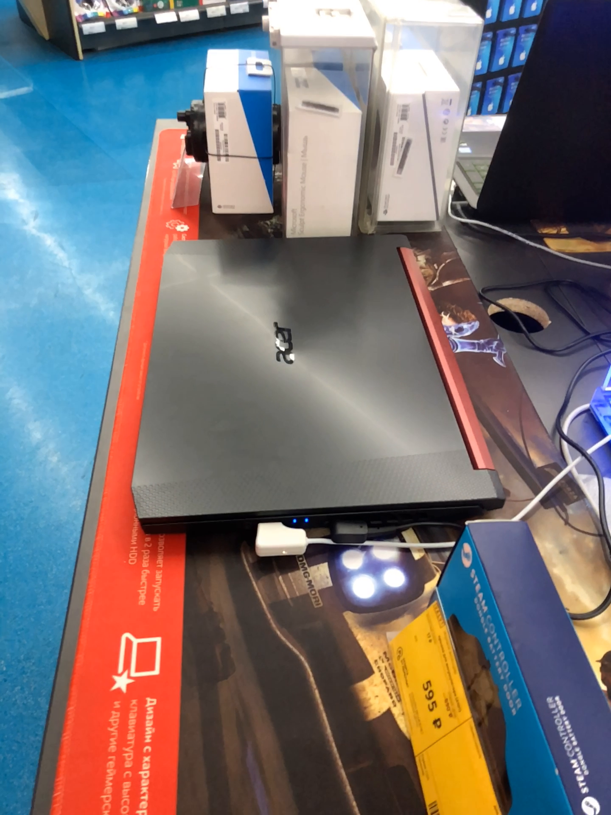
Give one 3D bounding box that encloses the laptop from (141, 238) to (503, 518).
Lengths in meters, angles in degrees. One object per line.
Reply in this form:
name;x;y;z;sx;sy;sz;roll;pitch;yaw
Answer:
laptop;-0.002;-0.053;0.578;0.242;0.005;0.352;-3;43;-4
